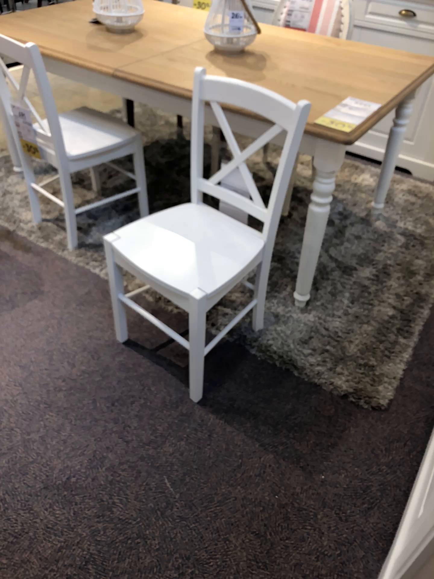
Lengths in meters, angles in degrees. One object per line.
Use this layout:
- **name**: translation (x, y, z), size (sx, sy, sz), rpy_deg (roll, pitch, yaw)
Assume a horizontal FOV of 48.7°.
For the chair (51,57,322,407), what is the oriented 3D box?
- **chair**: translation (-0.081, -0.166, 1.405), size (0.460, 0.785, 0.463), rpy_deg (30, 47, 28)
